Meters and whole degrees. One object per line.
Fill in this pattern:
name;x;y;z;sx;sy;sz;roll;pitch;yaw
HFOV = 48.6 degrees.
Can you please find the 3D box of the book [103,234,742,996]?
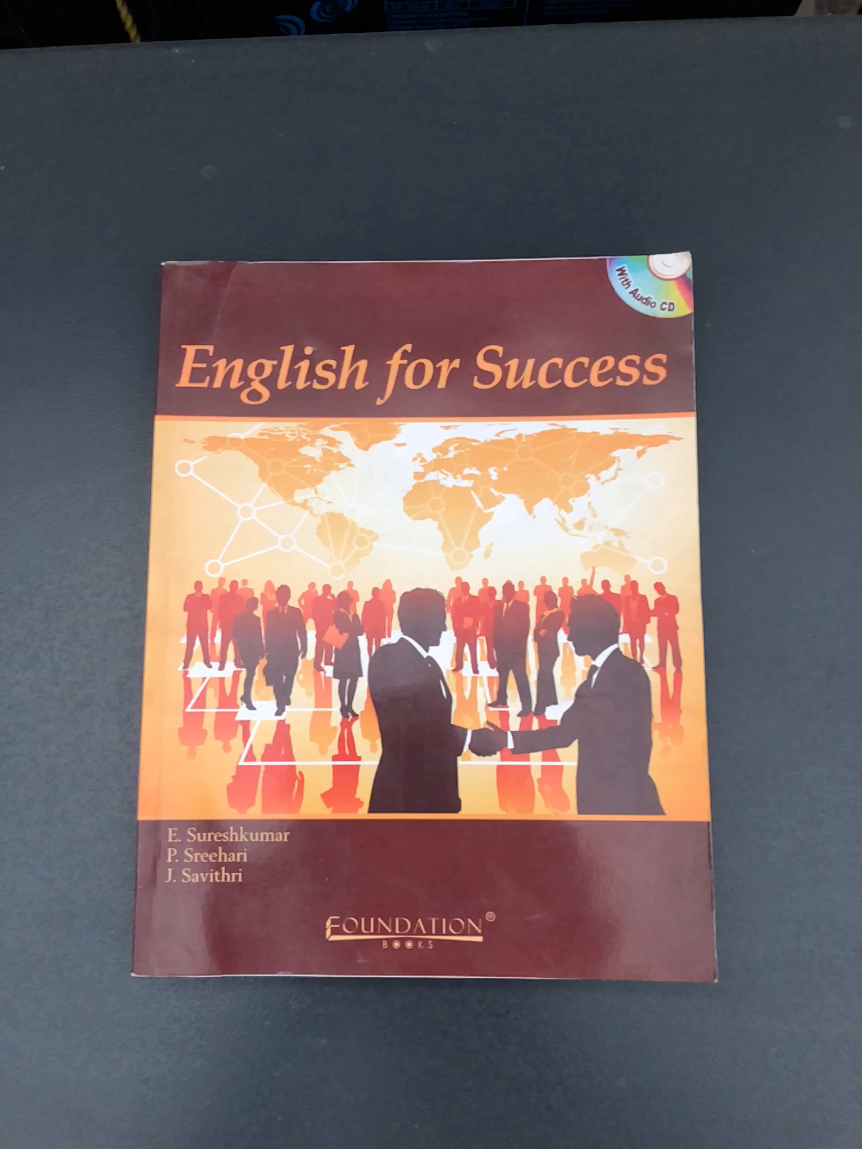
book;-0.004;0.009;0.317;0.190;0.030;0.240;-1;81;1
